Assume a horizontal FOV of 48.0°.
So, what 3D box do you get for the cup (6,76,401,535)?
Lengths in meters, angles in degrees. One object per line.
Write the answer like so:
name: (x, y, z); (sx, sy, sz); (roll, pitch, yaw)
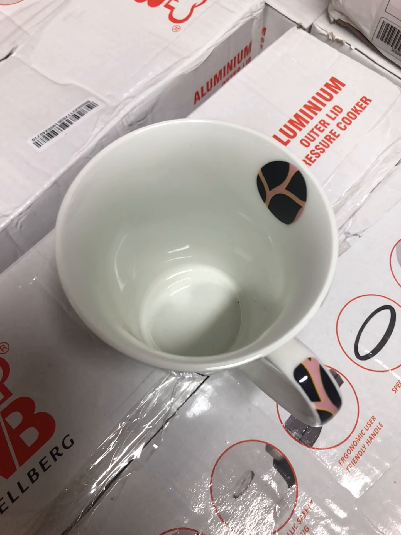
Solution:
cup: (0.010, 0.015, 0.168); (0.110, 0.090, 0.080); (42, 72, 12)
